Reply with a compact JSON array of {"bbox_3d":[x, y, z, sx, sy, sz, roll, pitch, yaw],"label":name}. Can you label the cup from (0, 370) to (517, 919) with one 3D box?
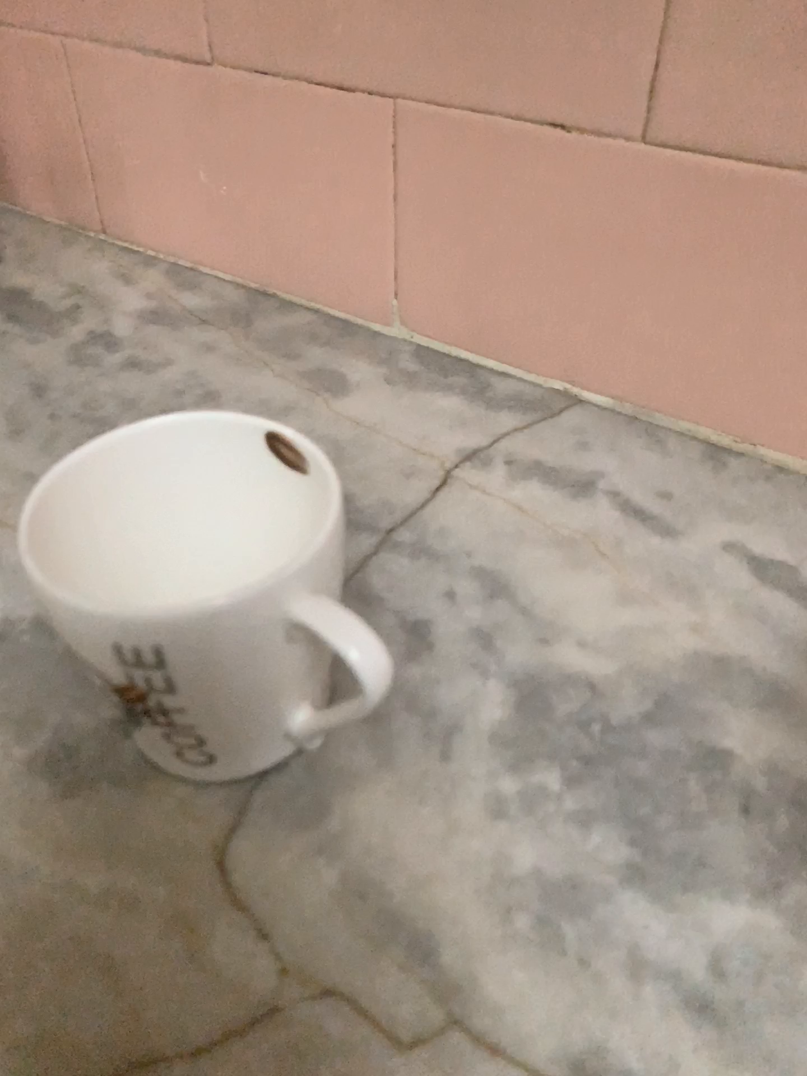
[{"bbox_3d":[-0.036,0.019,0.200,0.100,0.070,0.070,24,47,25],"label":"cup"}]
